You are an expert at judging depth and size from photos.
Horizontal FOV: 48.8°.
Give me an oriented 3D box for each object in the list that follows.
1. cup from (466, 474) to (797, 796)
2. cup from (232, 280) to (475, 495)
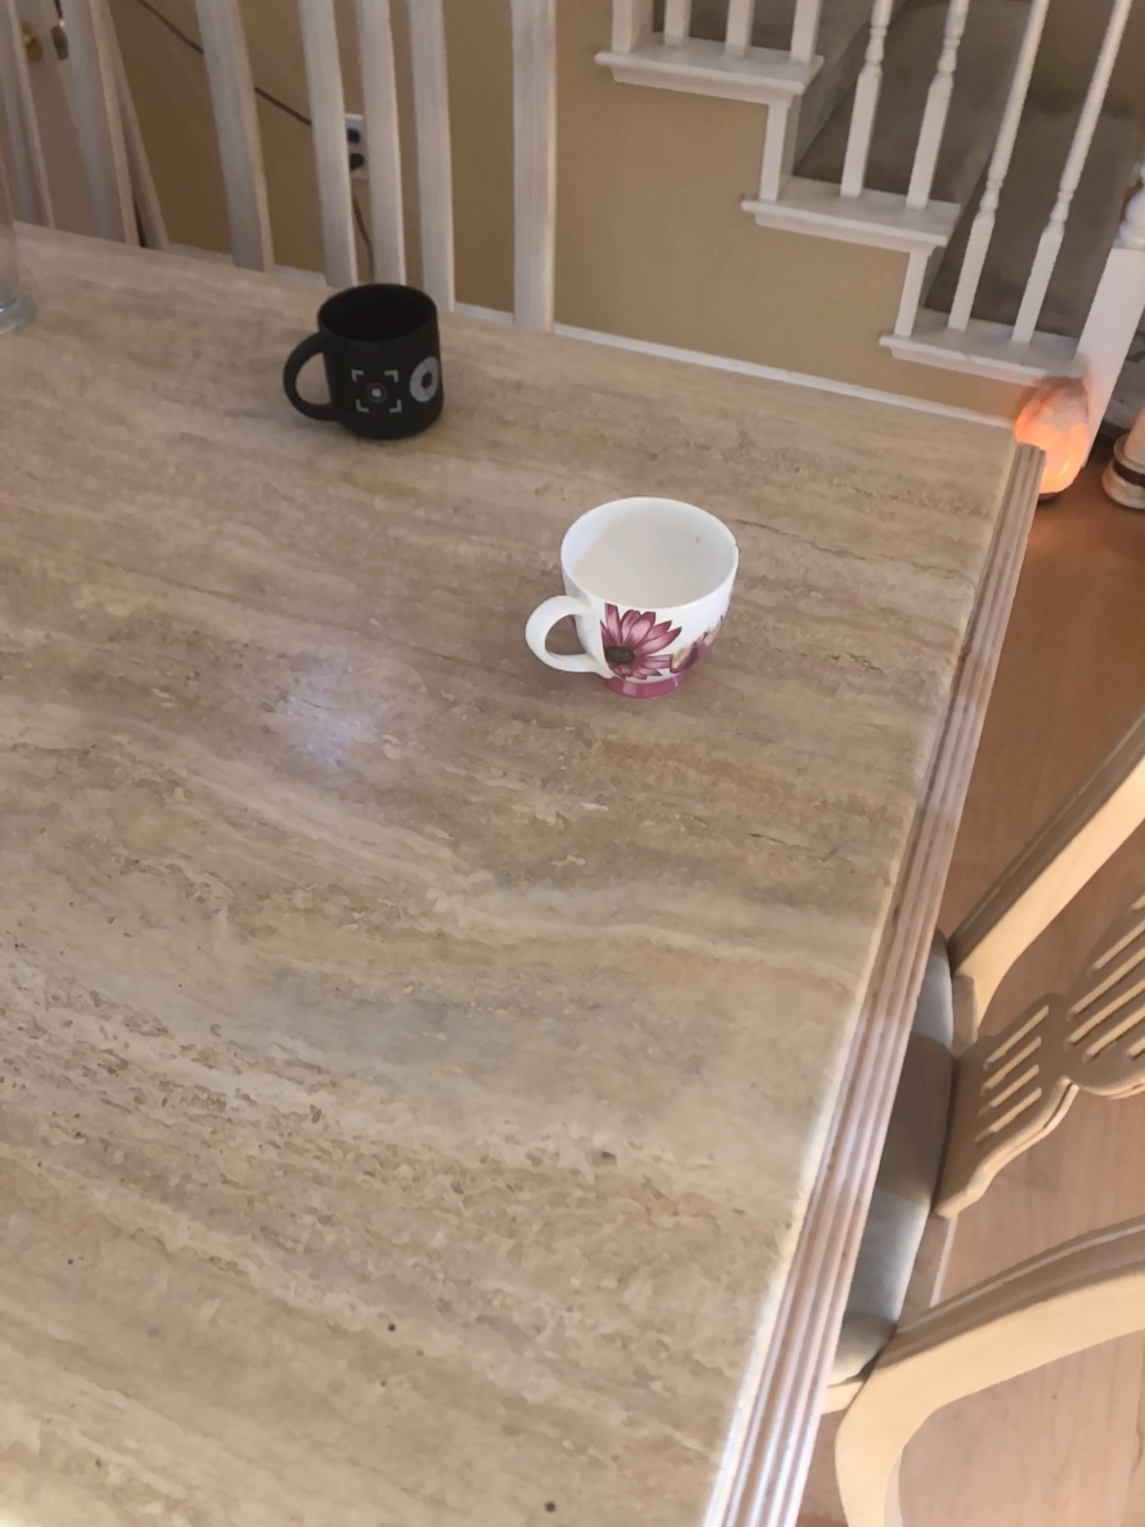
[{"bbox_3d":[0.035,-0.082,0.763,0.161,0.089,0.110,-34,56,-27],"label":"cup"},{"bbox_3d":[-0.167,-0.294,0.980,0.151,0.089,0.100,-22,52,-19],"label":"cup"}]
